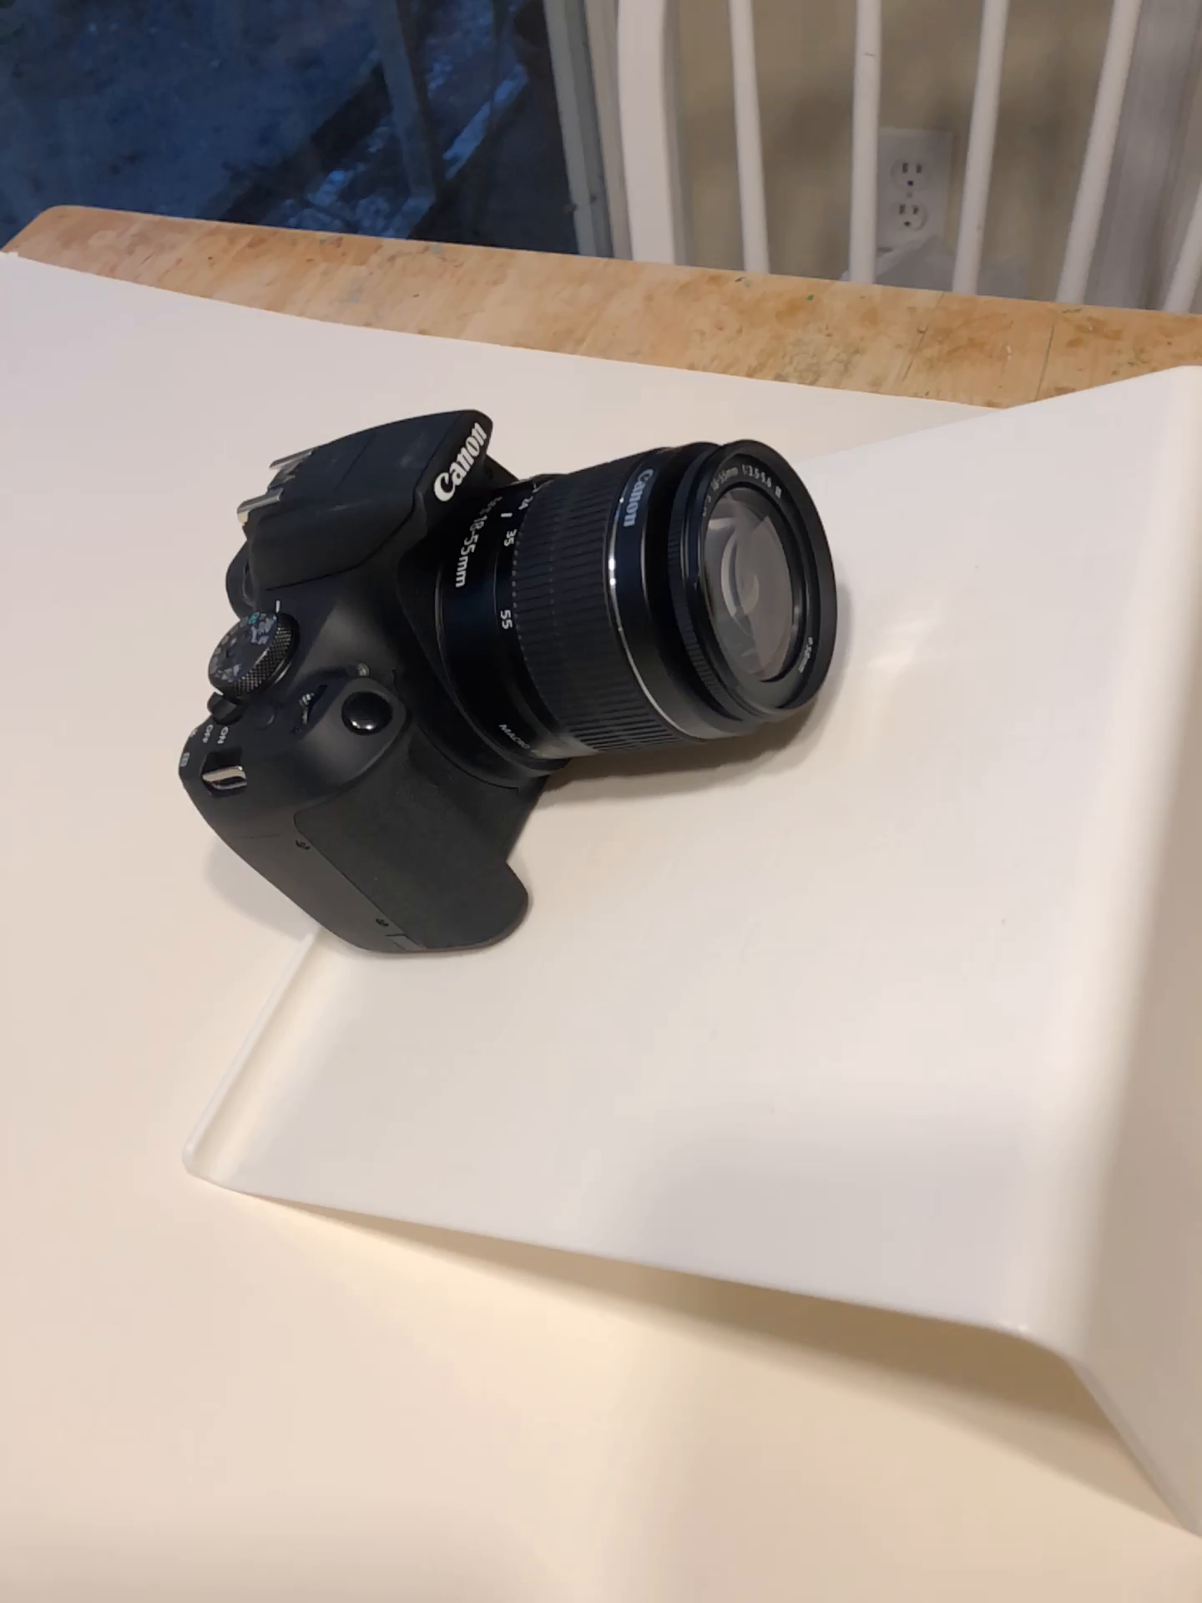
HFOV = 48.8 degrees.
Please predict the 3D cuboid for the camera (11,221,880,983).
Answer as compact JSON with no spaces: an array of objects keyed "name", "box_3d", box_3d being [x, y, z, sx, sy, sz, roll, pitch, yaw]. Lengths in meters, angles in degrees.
[{"name":"camera","box_3d":[-0.032,-0.038,0.324,0.140,0.104,0.126,-7,45,39]}]
